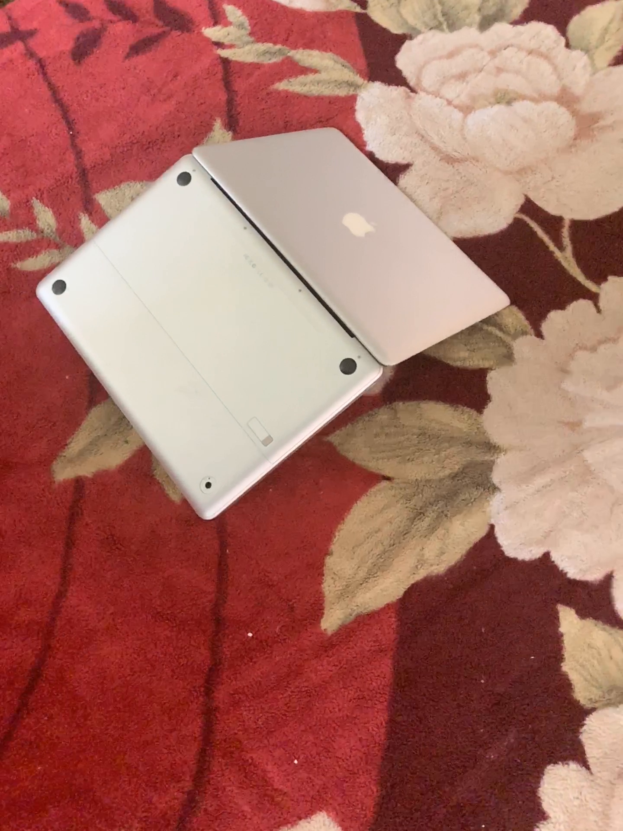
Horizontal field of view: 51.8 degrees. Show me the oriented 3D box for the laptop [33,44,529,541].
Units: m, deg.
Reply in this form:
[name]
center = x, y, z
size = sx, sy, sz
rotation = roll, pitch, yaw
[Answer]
[laptop]
center = -0.050, -0.128, 0.670
size = 0.390, 0.078, 0.316
rotation = -40, 75, 1
